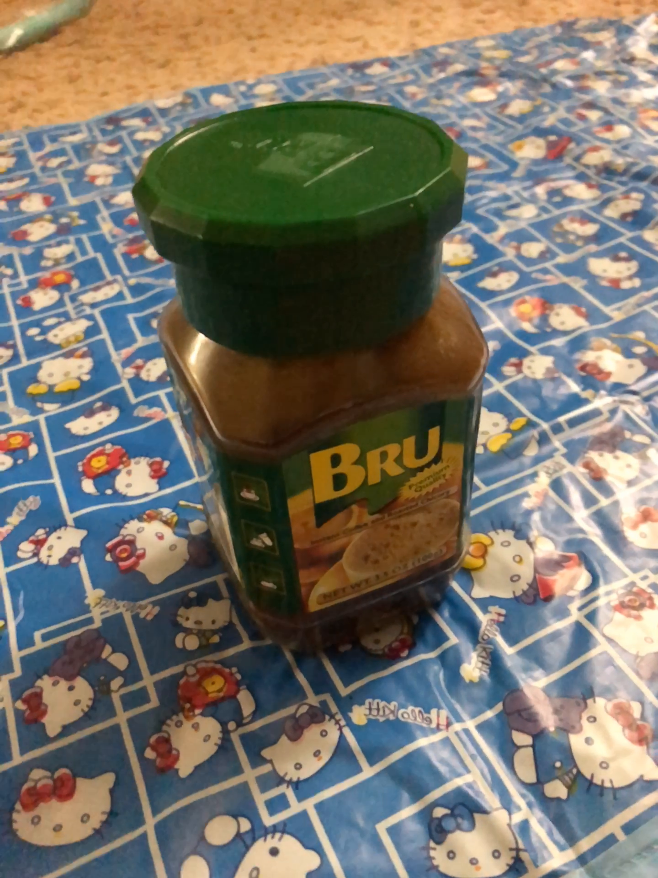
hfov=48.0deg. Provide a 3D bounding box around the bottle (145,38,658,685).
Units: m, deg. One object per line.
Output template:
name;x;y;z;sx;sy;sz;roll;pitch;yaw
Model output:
bottle;0.016;-0.016;0.178;0.080;0.120;0.070;-18;44;-14
